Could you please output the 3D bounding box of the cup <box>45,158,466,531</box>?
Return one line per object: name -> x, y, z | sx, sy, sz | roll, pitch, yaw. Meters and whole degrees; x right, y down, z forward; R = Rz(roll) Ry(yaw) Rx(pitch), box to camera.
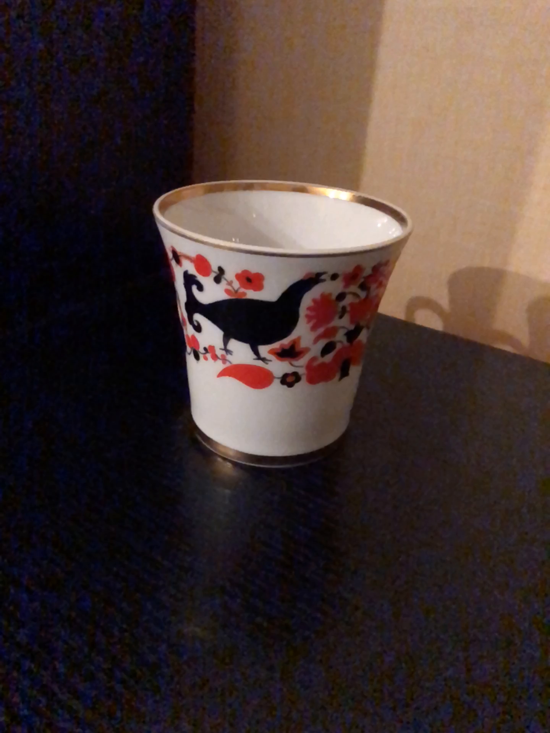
cup -> -0.009, -0.023, 0.256 | 0.125, 0.092, 0.103 | 23, 34, 30
